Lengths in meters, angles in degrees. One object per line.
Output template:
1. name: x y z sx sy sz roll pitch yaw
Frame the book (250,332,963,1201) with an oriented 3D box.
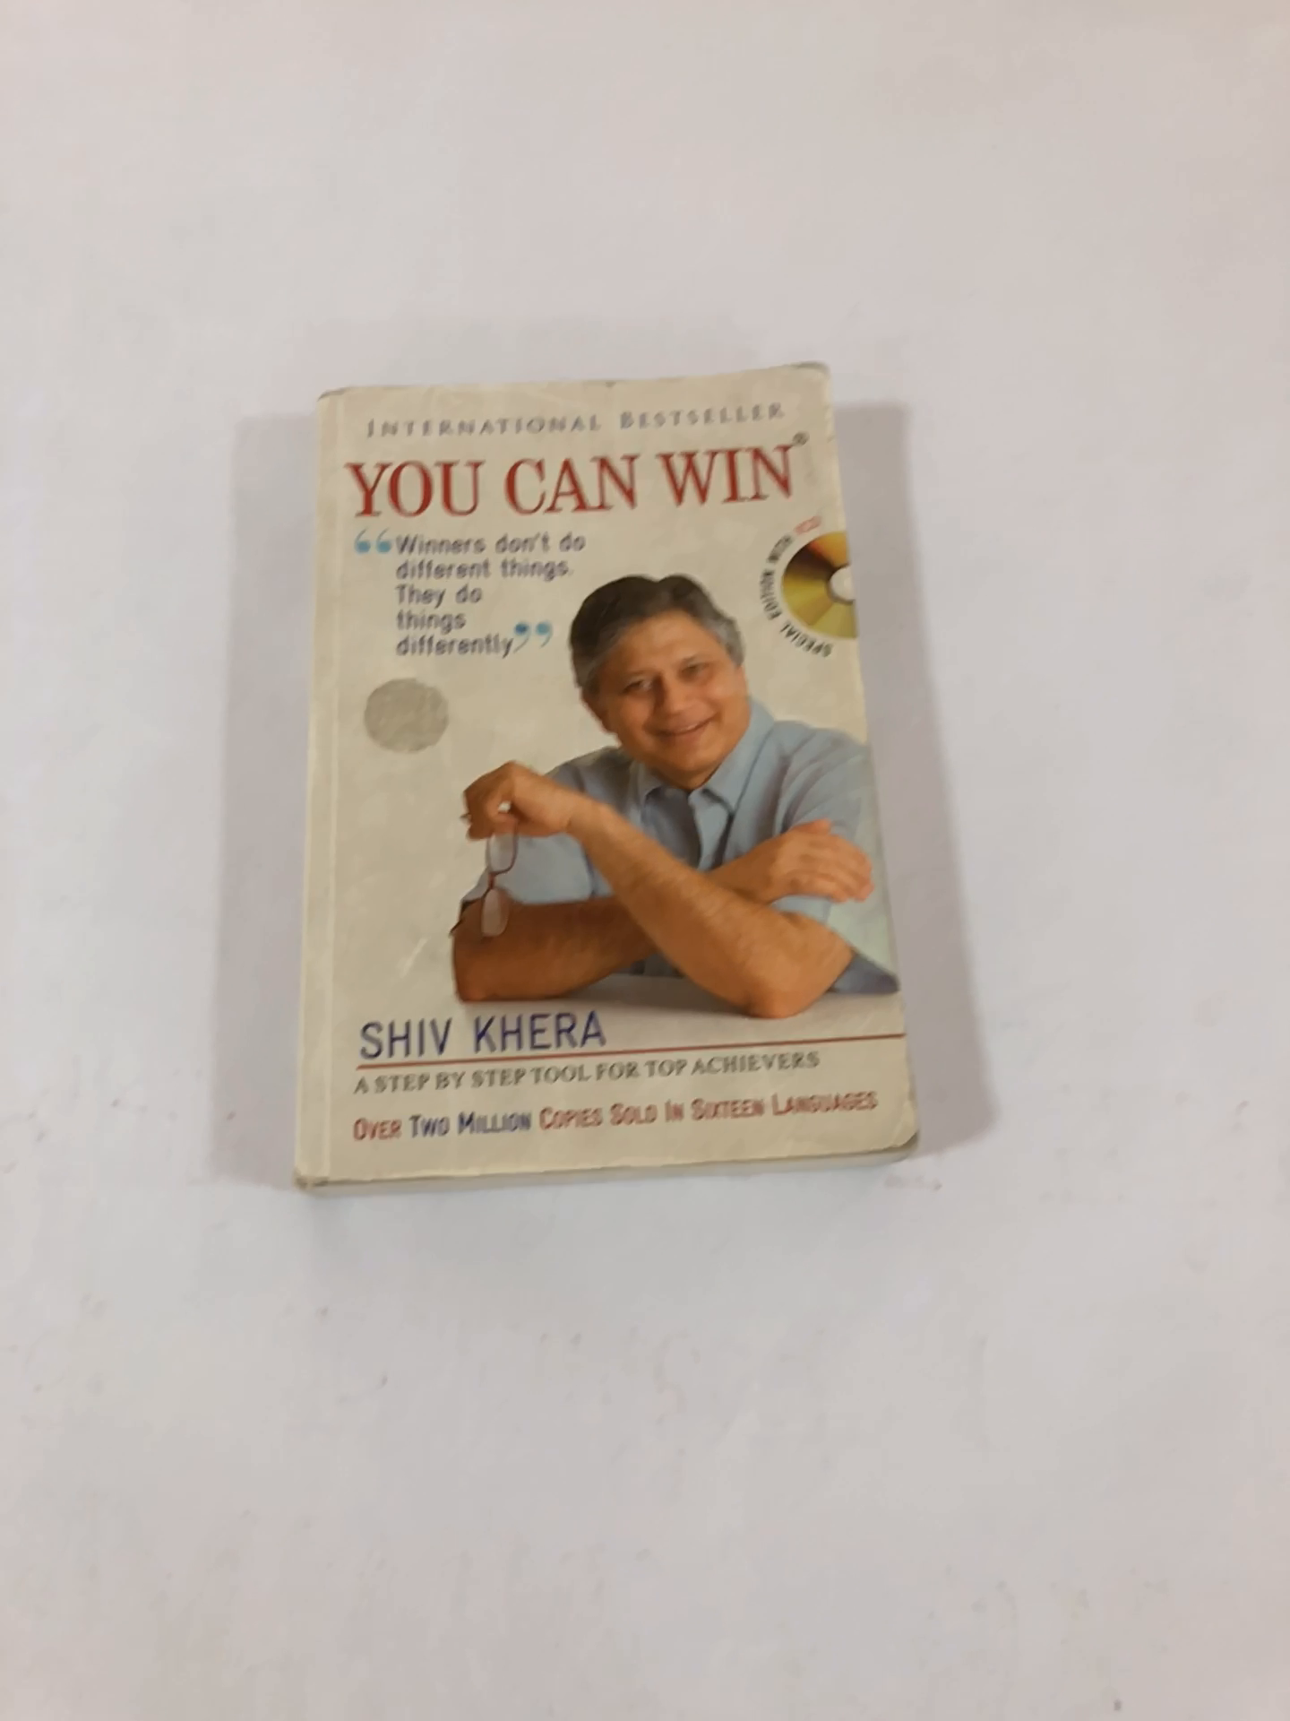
1. book: -0.014 -0.029 0.356 0.150 0.040 0.210 -3 70 -3
